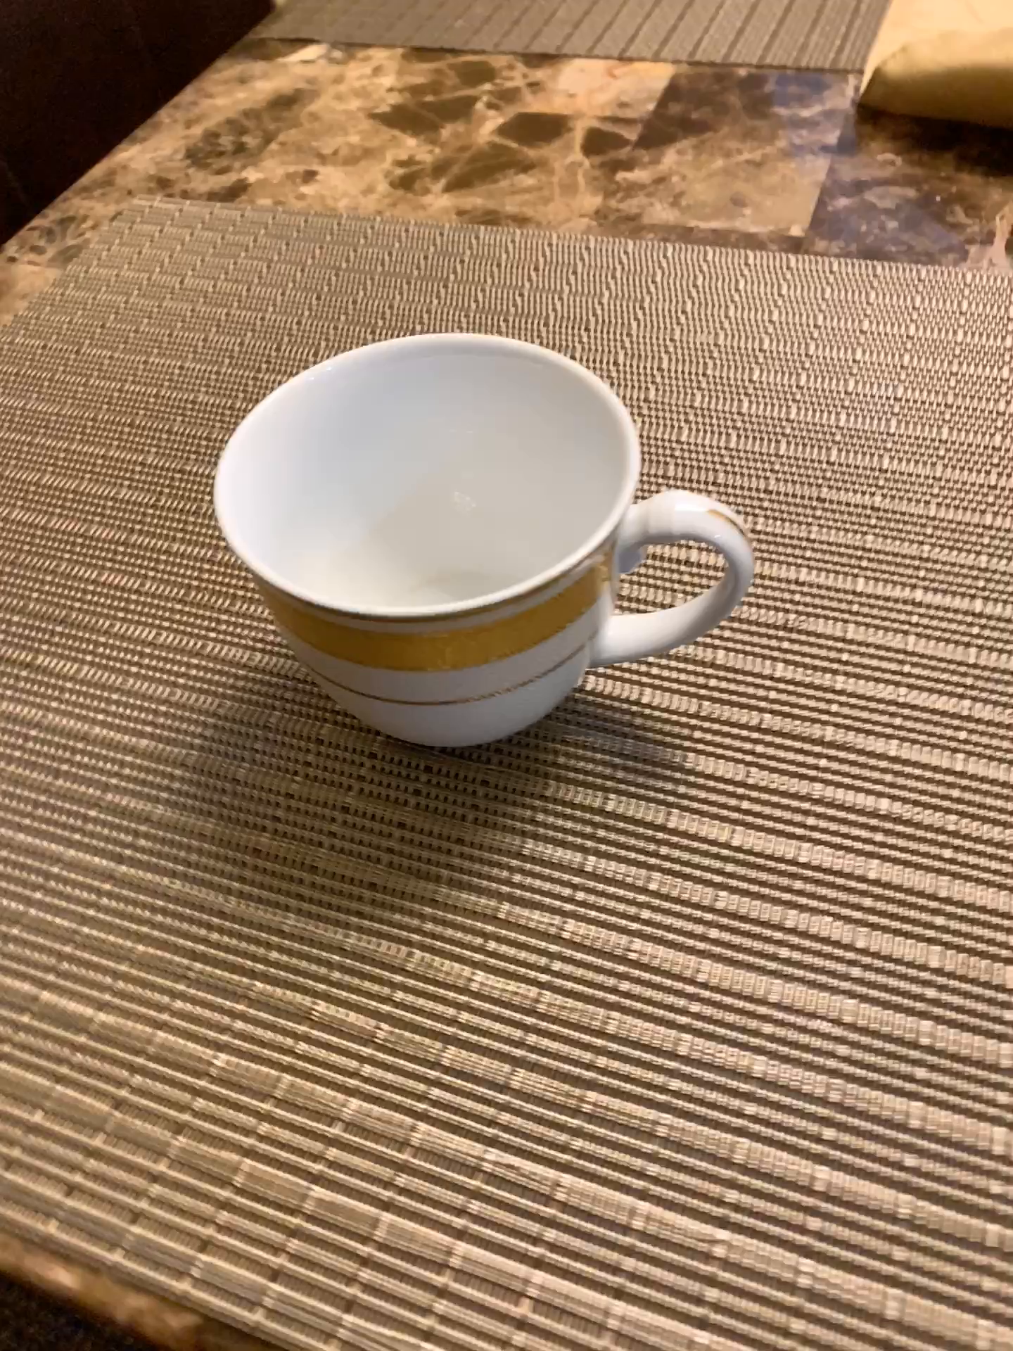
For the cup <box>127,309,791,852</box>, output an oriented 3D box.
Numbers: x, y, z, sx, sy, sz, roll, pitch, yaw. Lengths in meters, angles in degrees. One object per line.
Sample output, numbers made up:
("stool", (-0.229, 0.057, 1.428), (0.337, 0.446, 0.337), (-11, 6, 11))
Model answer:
("cup", (-0.002, -0.023, 0.213), (0.103, 0.055, 0.083), (8, 53, 13))
